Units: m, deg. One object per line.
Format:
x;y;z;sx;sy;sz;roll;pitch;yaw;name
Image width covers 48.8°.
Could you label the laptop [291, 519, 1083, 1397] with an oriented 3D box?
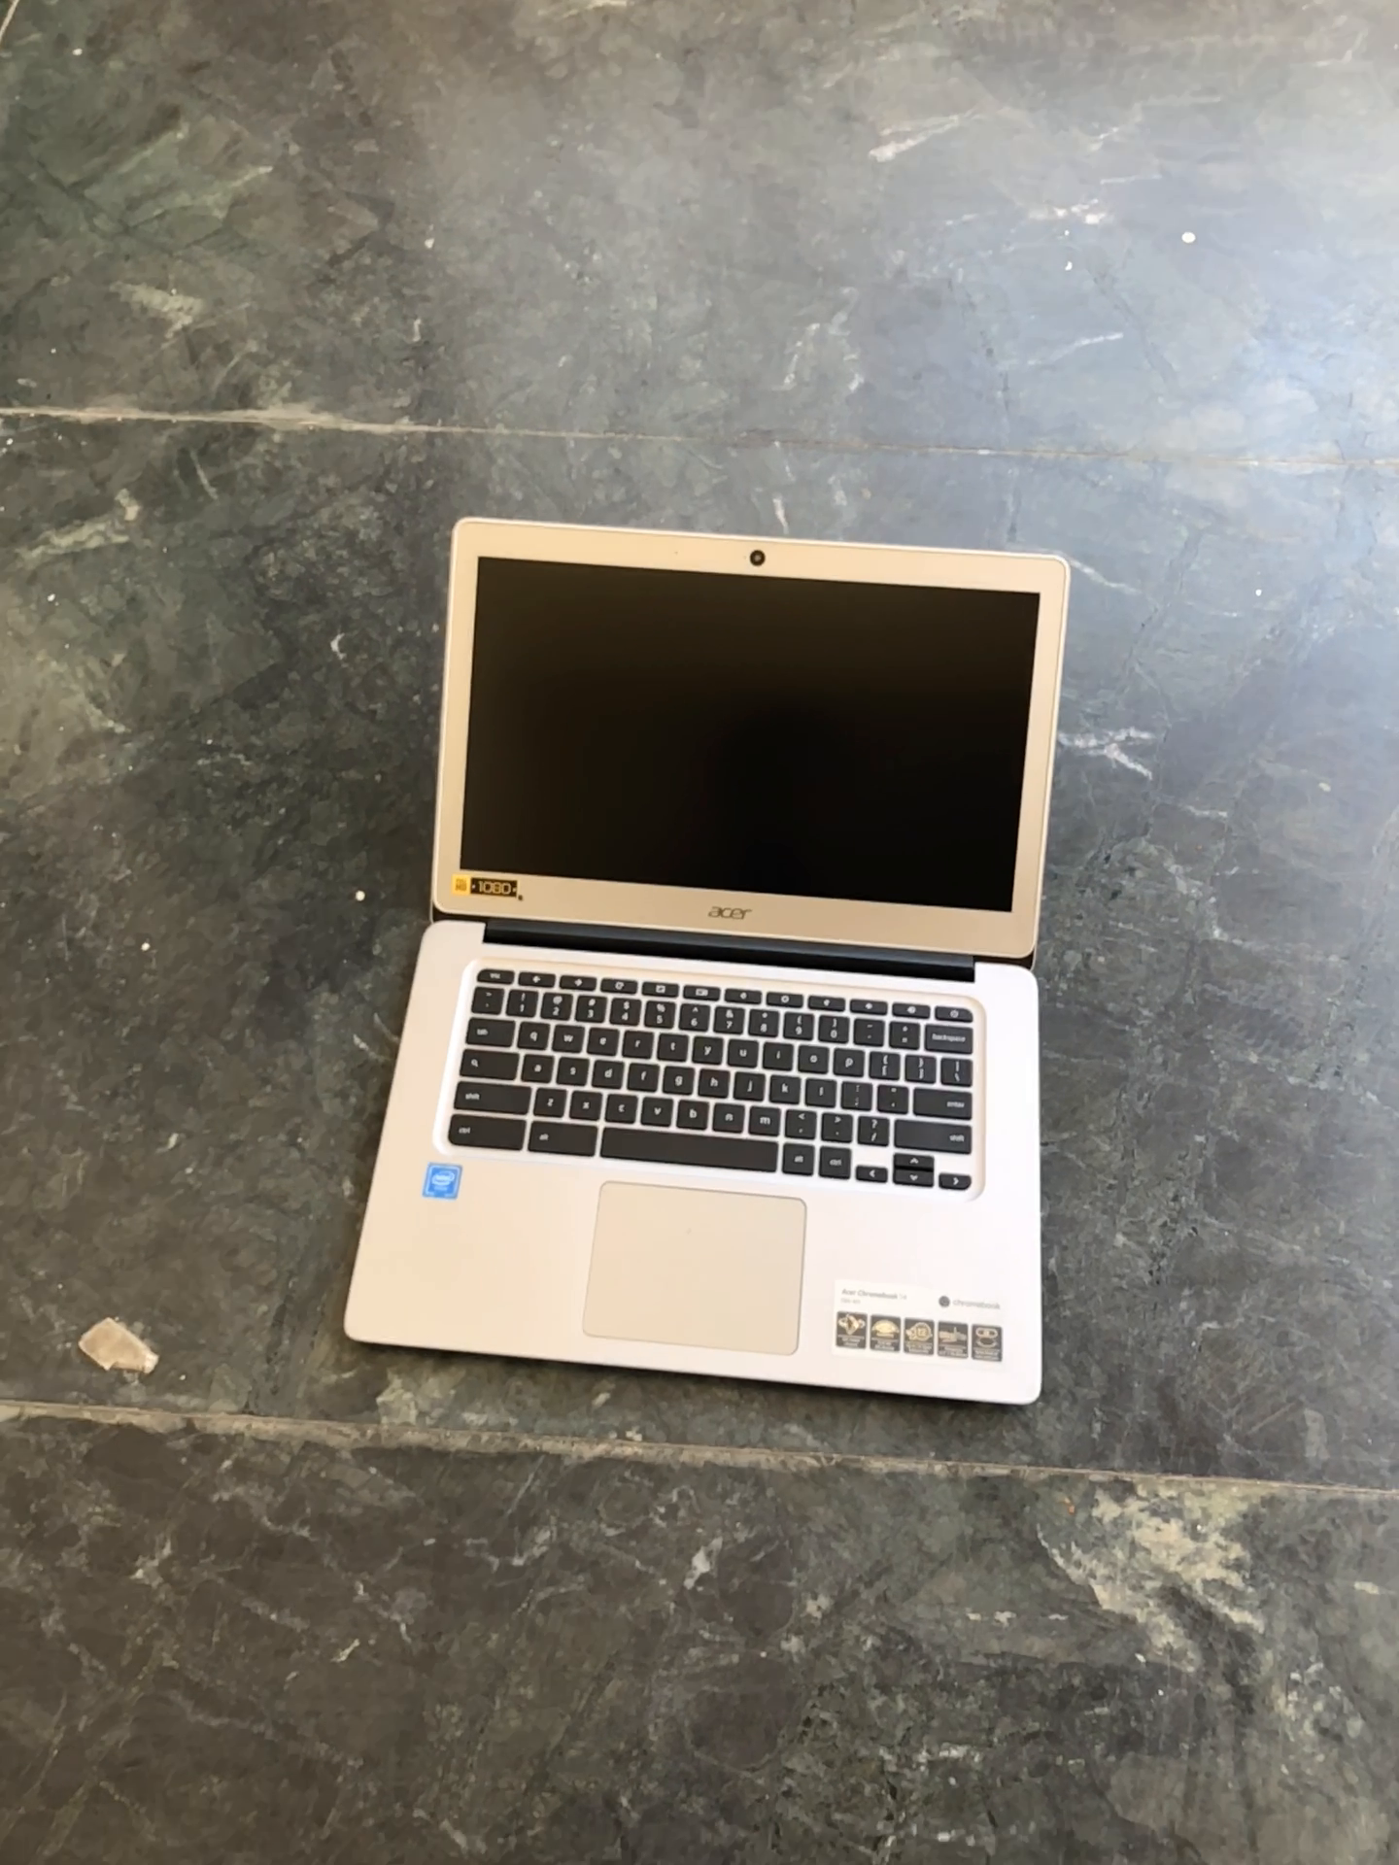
0.013;-0.003;0.804;0.338;0.117;0.425;4;62;3;laptop
